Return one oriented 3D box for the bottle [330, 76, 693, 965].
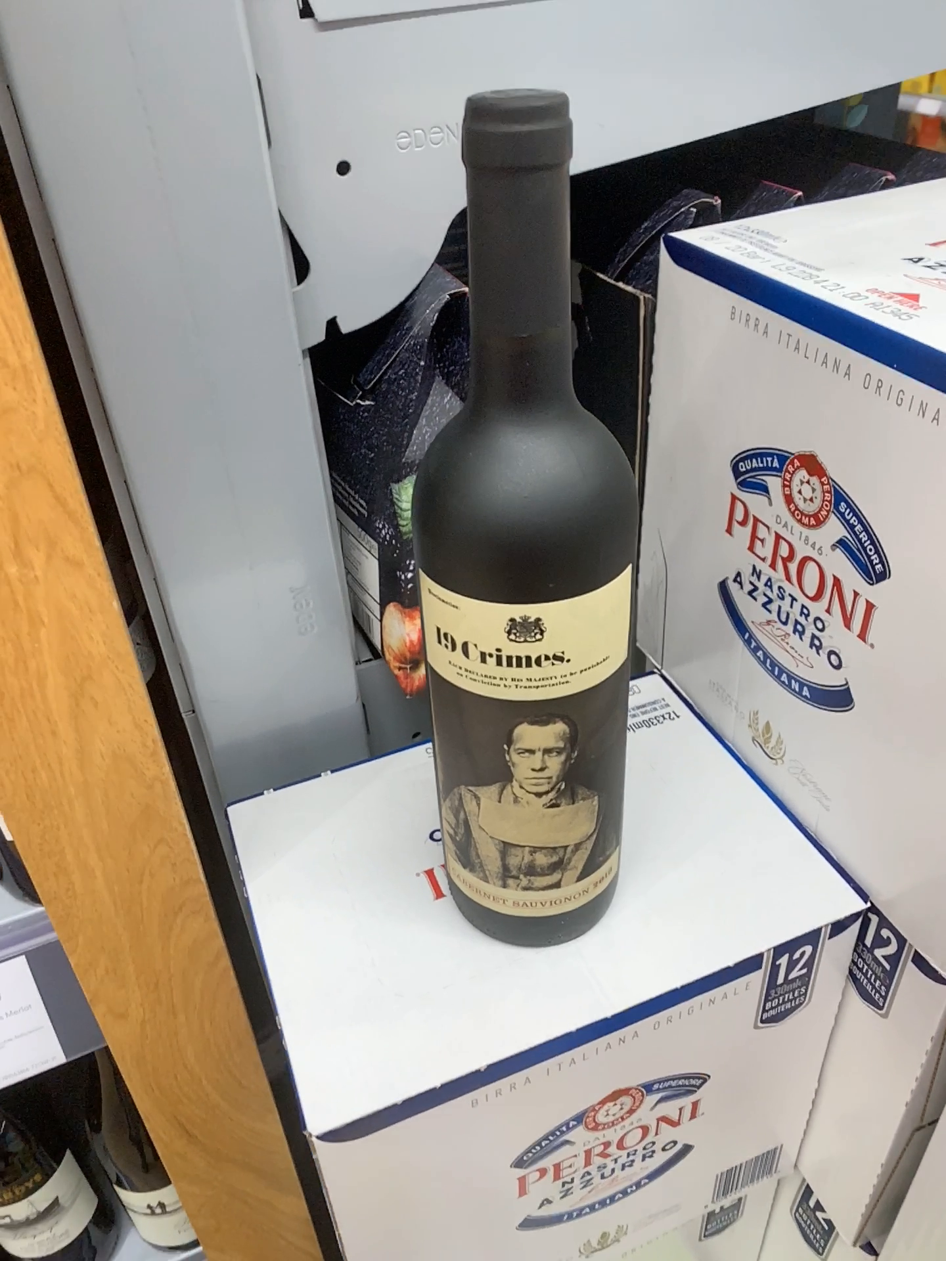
[{"bbox_3d":[0.016,-0.012,0.322,0.078,0.288,0.076,-3,36,2],"label":"bottle"}]
